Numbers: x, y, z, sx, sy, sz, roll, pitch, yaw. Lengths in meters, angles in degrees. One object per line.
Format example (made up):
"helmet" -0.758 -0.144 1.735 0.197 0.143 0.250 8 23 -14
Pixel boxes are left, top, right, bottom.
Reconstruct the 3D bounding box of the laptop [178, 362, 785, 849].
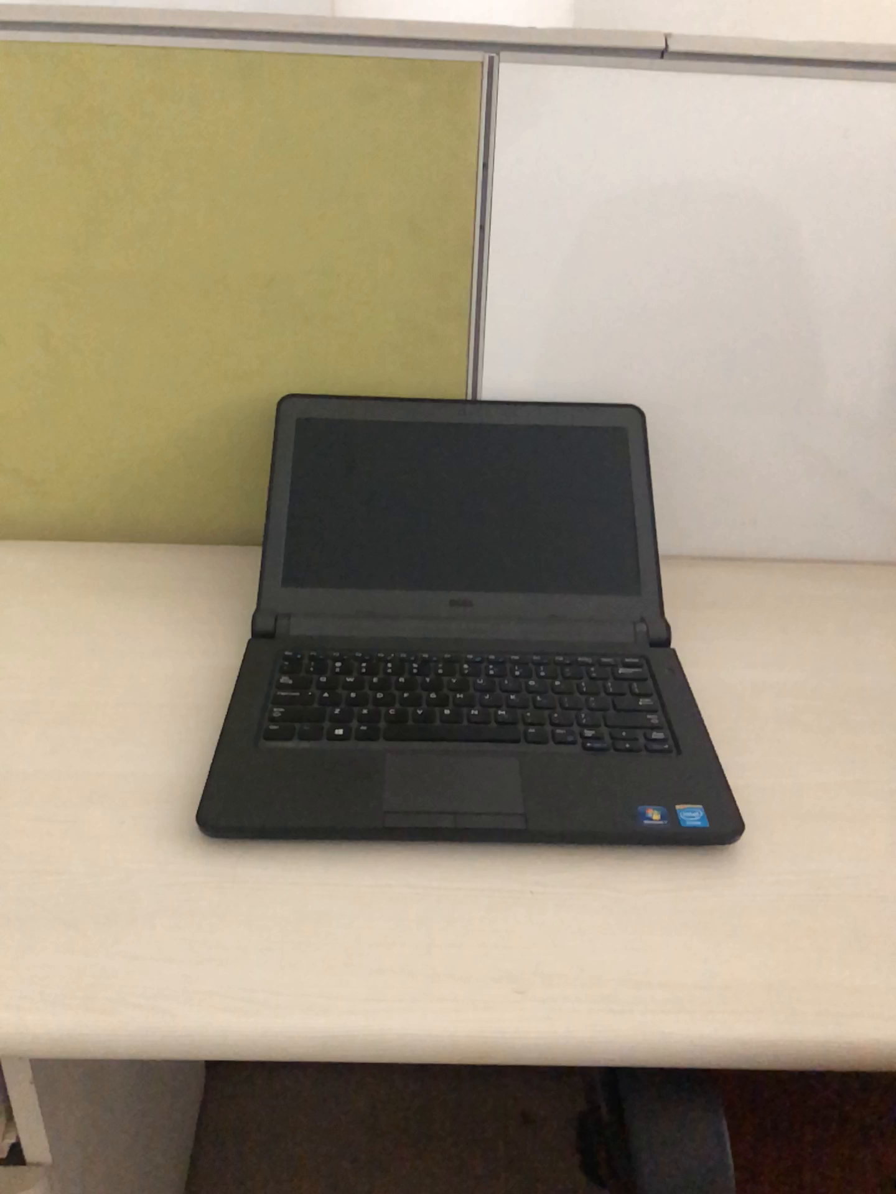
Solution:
"laptop" 0.013 -0.029 0.716 0.316 0.122 0.418 2 33 -2
